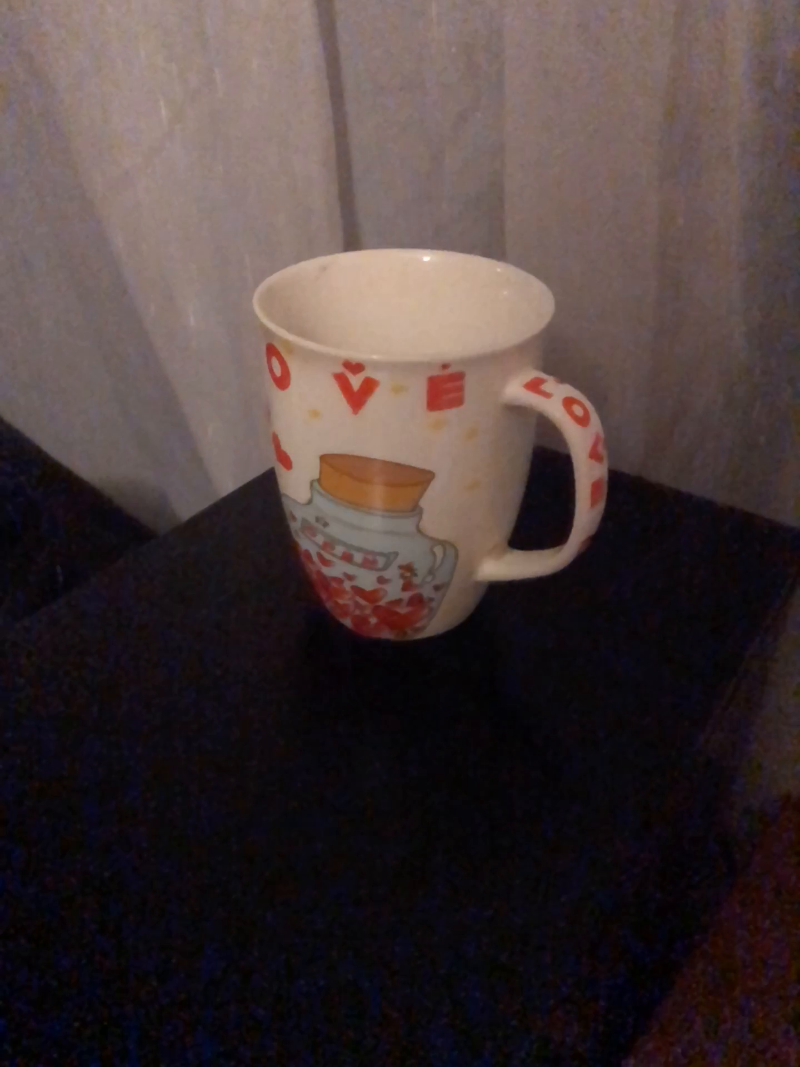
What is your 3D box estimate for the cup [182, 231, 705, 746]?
[{"bbox_3d":[0.012,-0.021,0.258,0.111,0.098,0.079,21,39,30],"label":"cup"}]
